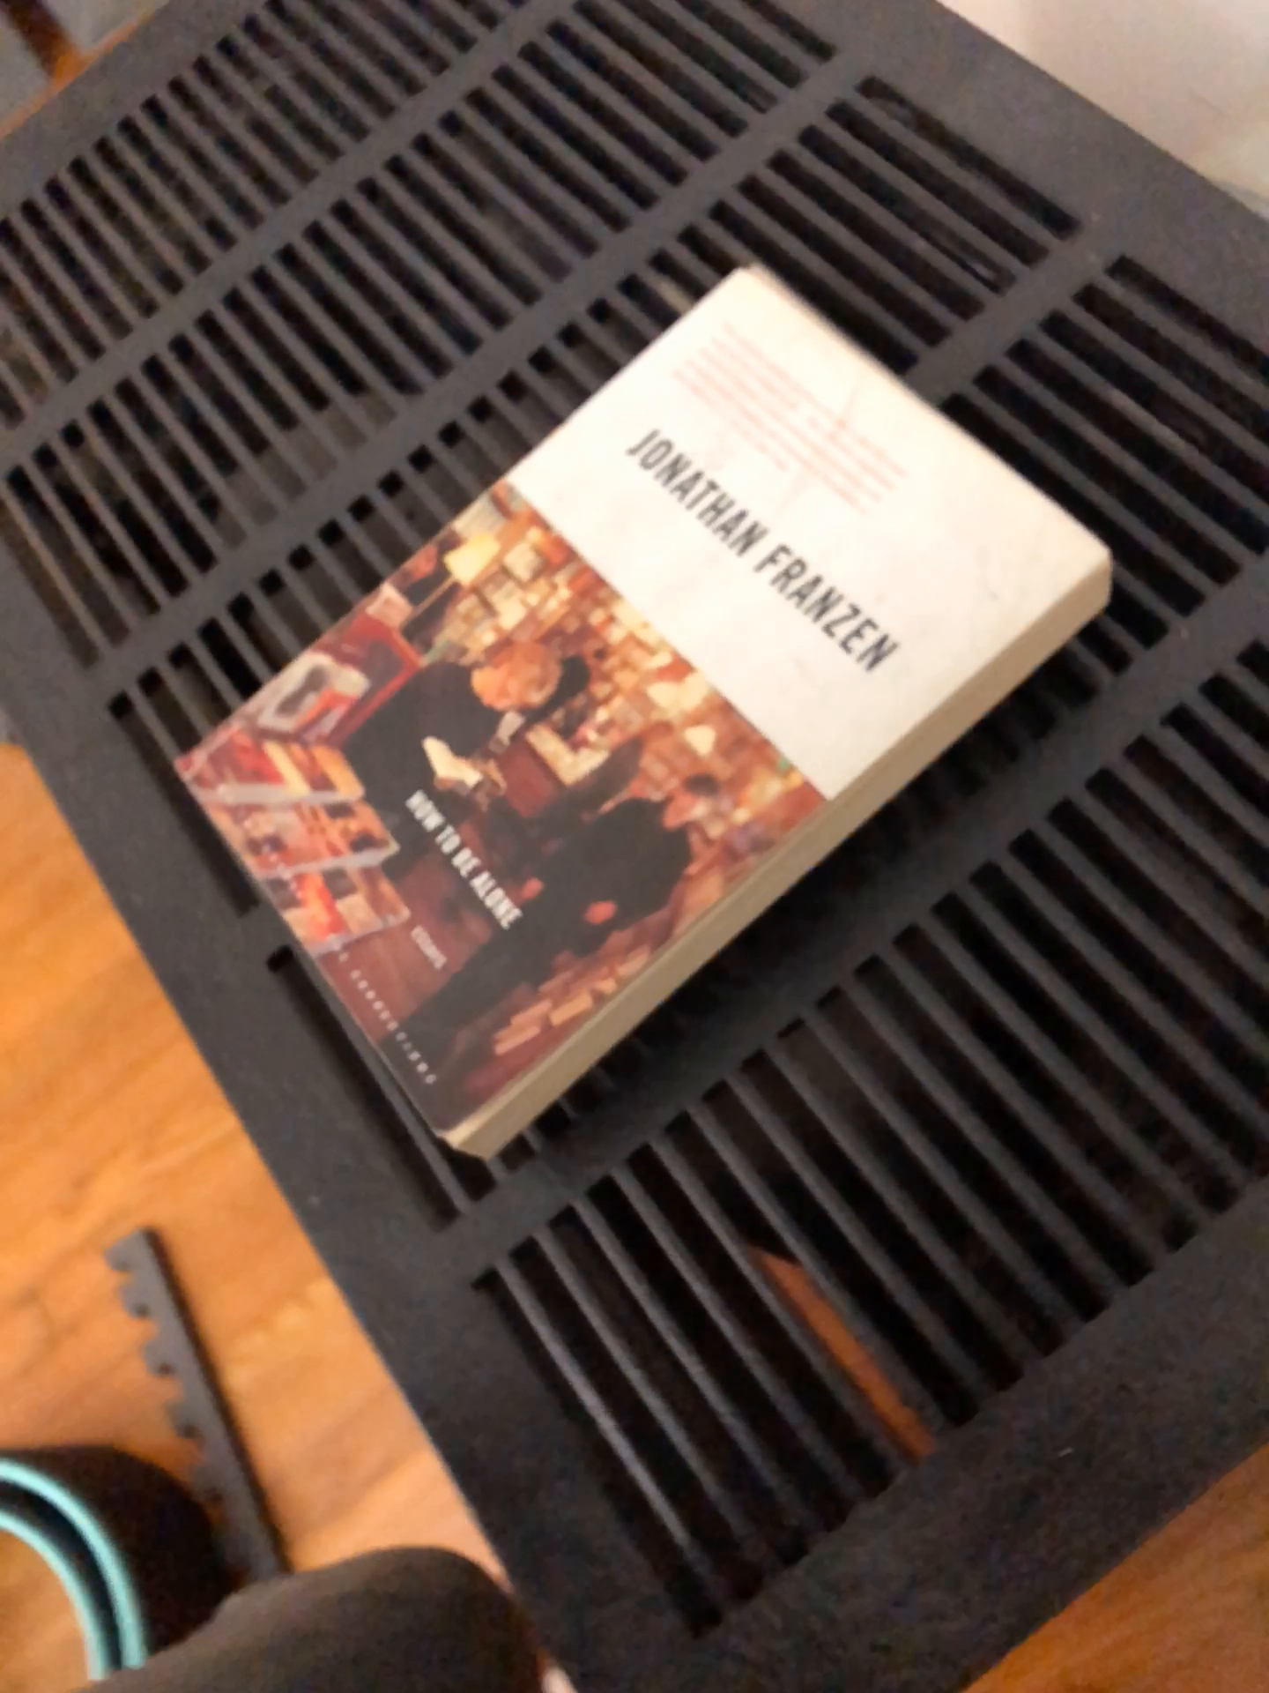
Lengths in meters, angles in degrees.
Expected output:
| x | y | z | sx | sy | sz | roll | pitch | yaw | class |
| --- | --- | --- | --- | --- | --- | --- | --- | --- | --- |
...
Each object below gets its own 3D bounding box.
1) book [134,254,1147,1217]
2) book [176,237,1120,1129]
| x | y | z | sx | sy | sz | roll | pitch | yaw | class |
| --- | --- | --- | --- | --- | --- | --- | --- | --- | --- |
| -0.005 | -0.036 | 0.363 | 0.210 | 0.030 | 0.150 | -42 | 64 | -2 | book |
| -0.002 | -0.052 | 0.388 | 0.210 | 0.030 | 0.150 | -42 | 64 | -2 | book |
